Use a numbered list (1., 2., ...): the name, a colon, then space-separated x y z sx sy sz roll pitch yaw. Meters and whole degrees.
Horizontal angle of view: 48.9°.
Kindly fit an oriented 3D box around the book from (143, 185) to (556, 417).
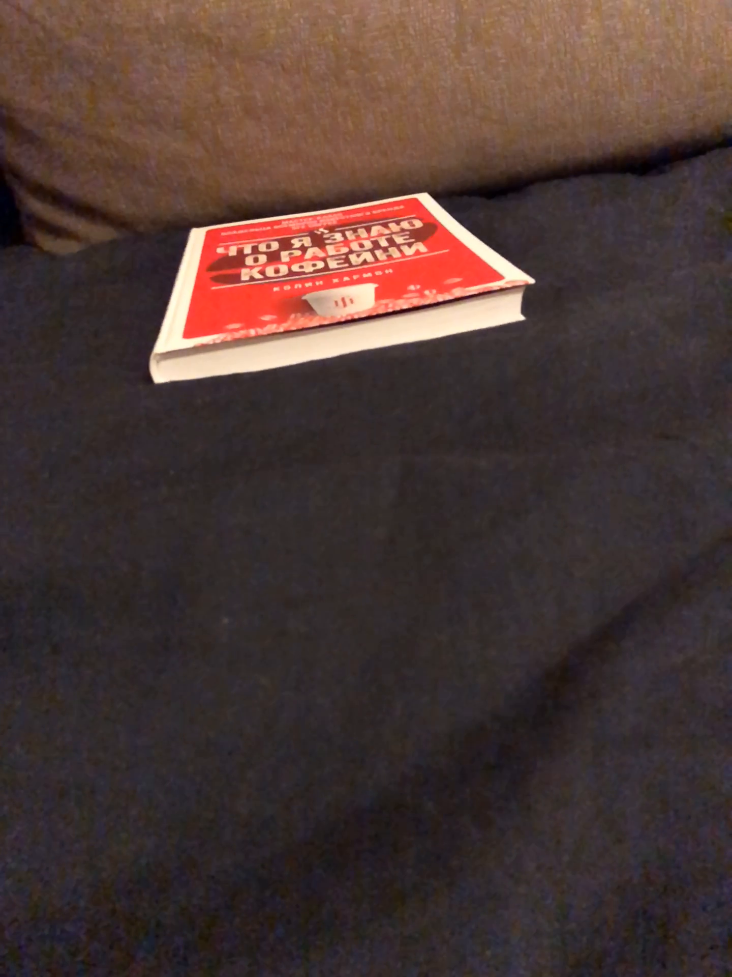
1. book: -0.018 -0.105 0.395 0.153 0.020 0.224 -11 31 -2
